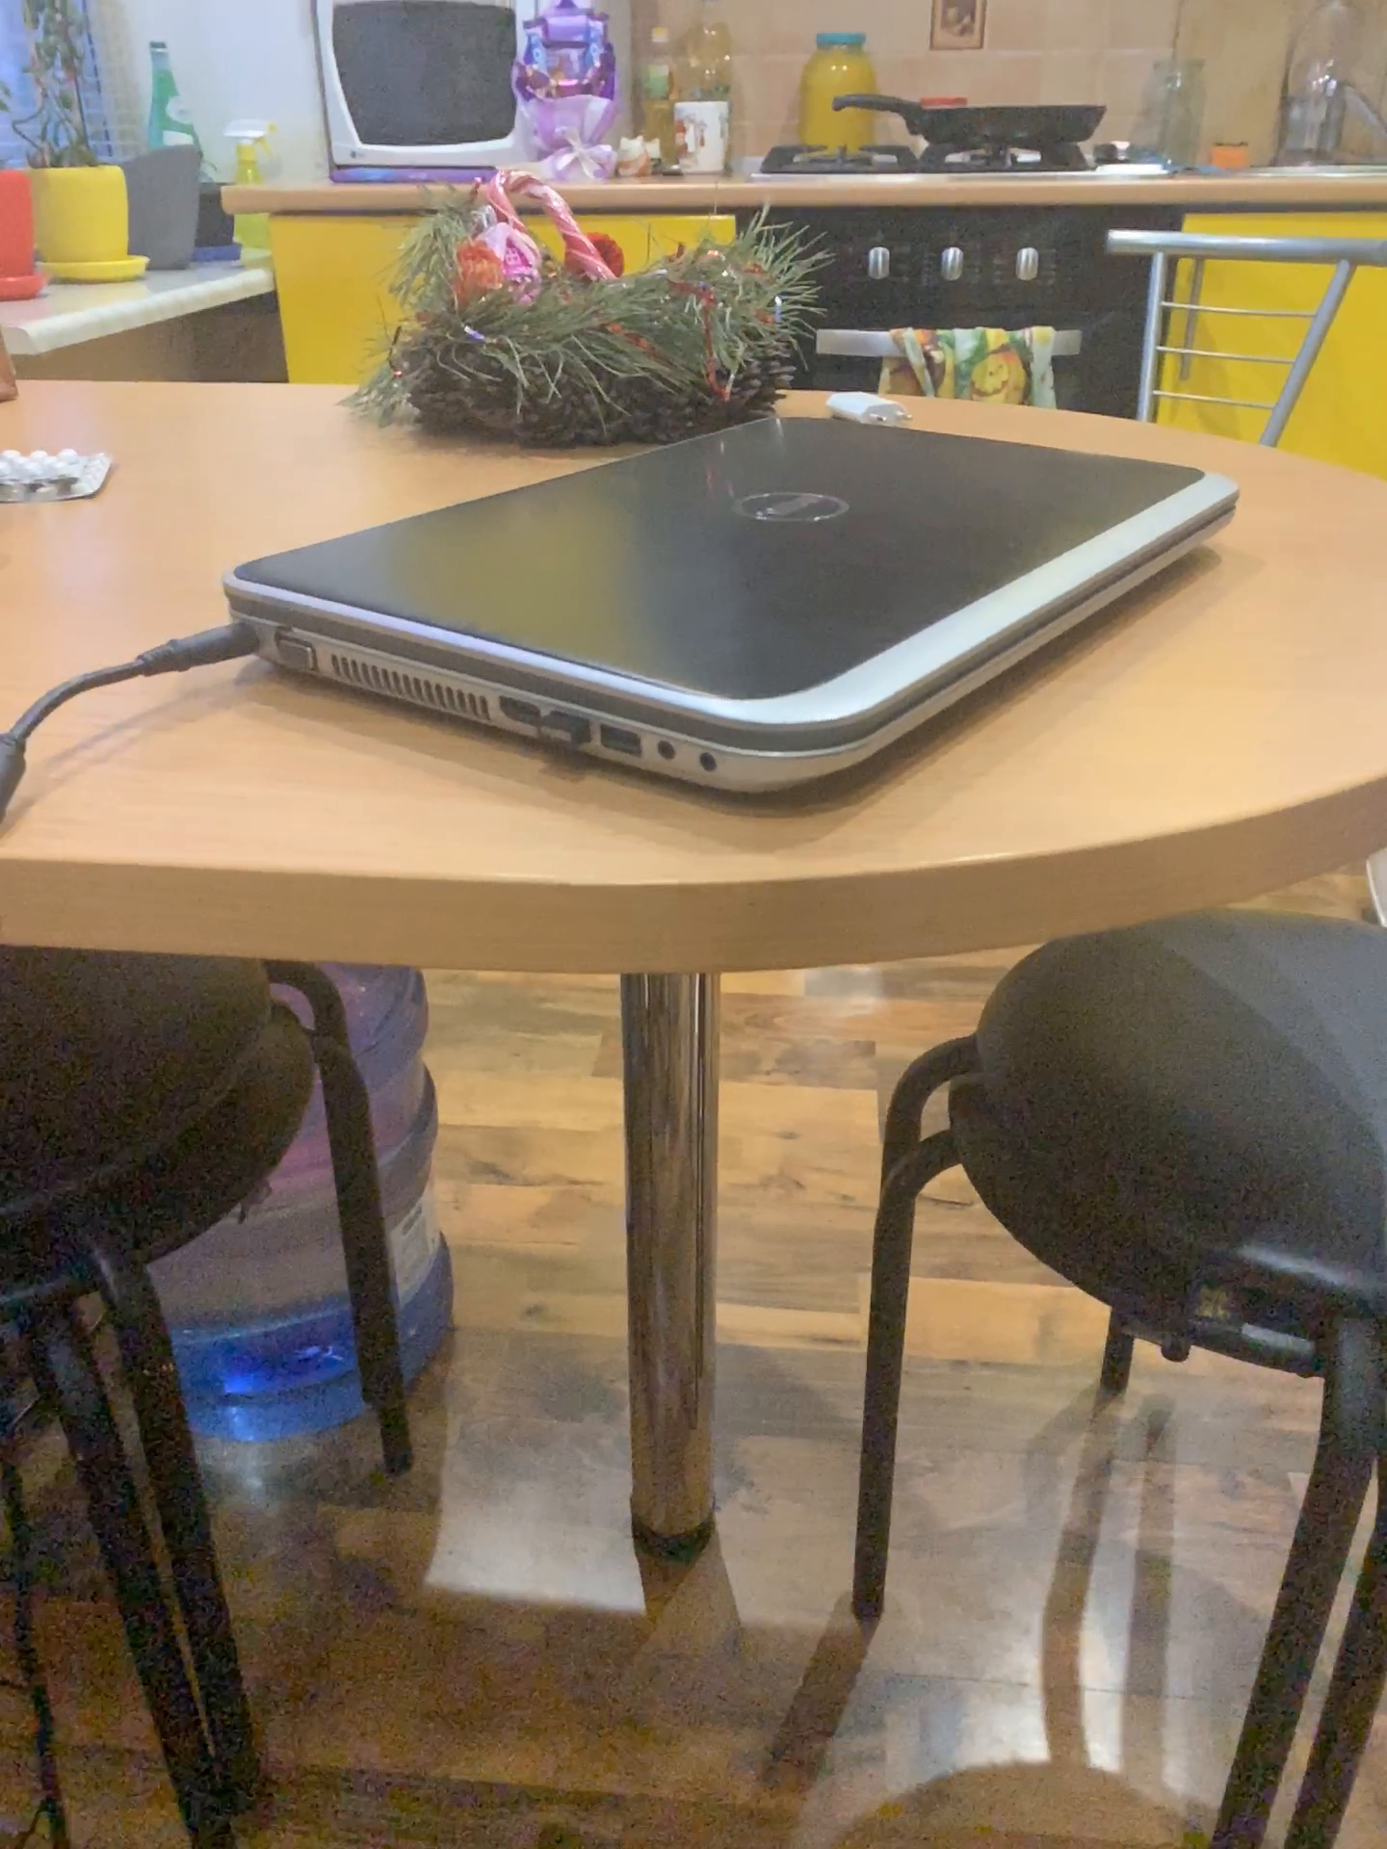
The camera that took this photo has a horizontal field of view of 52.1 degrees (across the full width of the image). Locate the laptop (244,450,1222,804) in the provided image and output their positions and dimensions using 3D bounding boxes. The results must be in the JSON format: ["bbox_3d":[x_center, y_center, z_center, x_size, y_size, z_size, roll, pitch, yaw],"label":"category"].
[{"bbox_3d":[0.038,-0.140,0.561,0.225,0.004,0.350,22,36,30],"label":"laptop"}]
